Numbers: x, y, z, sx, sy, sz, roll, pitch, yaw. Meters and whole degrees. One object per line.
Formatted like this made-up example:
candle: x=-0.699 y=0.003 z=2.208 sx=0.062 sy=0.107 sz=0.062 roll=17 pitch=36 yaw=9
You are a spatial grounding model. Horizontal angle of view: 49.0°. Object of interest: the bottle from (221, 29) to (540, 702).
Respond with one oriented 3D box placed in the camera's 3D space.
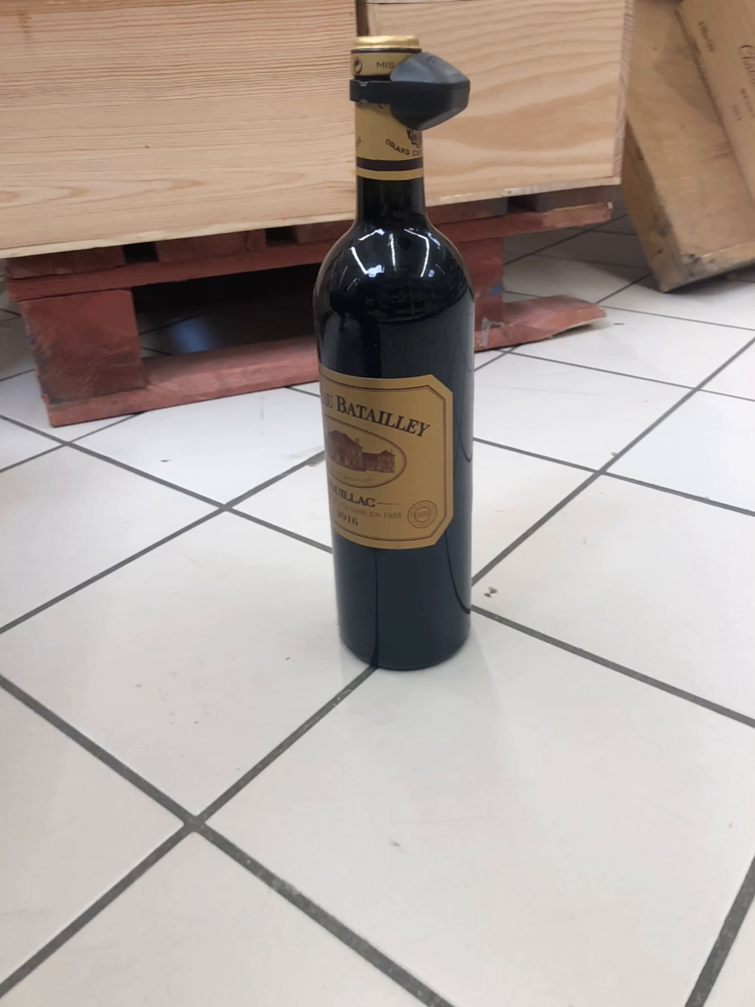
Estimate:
bottle: x=0.007 y=-0.059 z=0.399 sx=0.090 sy=0.288 sz=0.090 roll=-2 pitch=28 yaw=1
